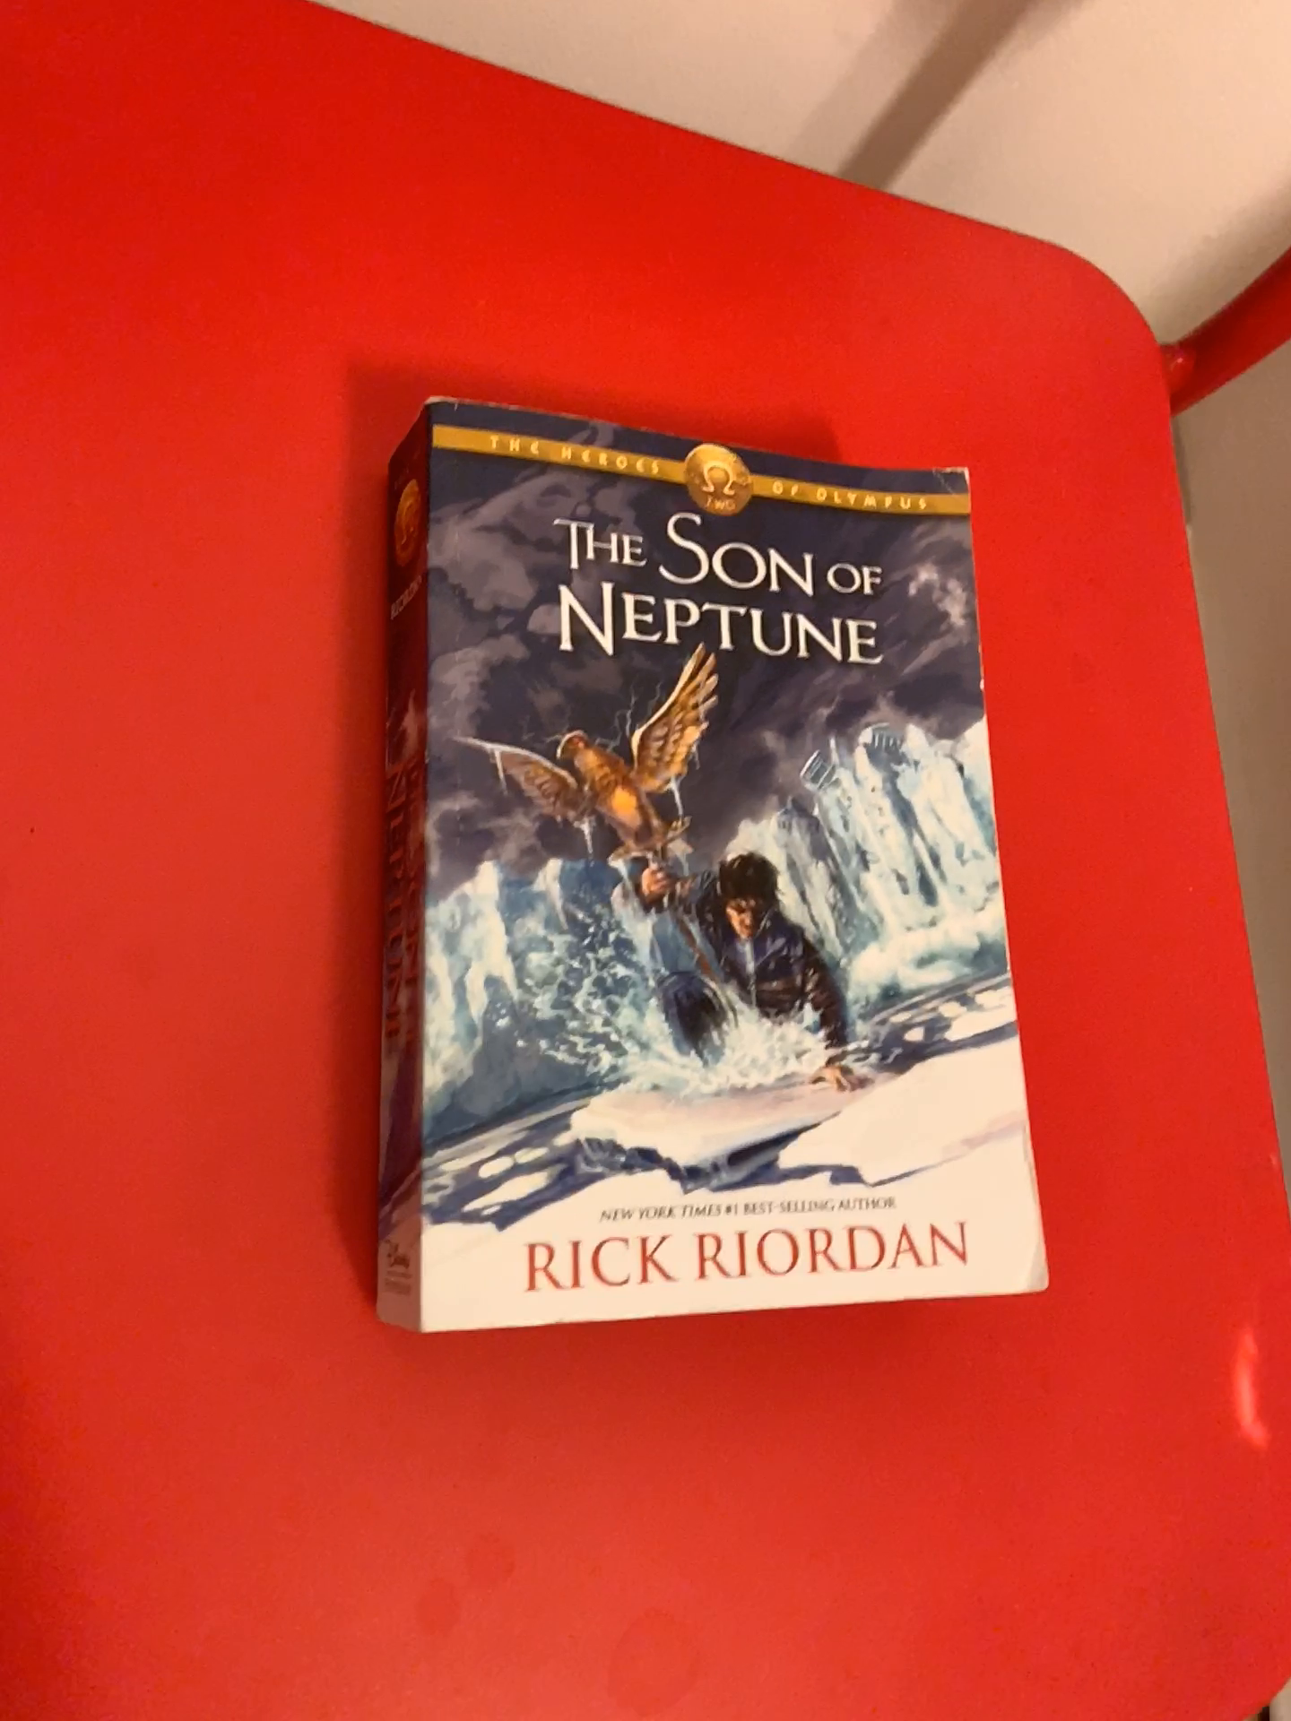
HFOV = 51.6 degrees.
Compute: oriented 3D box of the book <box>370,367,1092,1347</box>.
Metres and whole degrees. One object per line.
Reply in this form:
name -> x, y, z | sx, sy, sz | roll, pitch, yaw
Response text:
book -> 0.017, 0.000, 0.292 | 0.142, 0.040, 0.188 | 4, 75, -21
